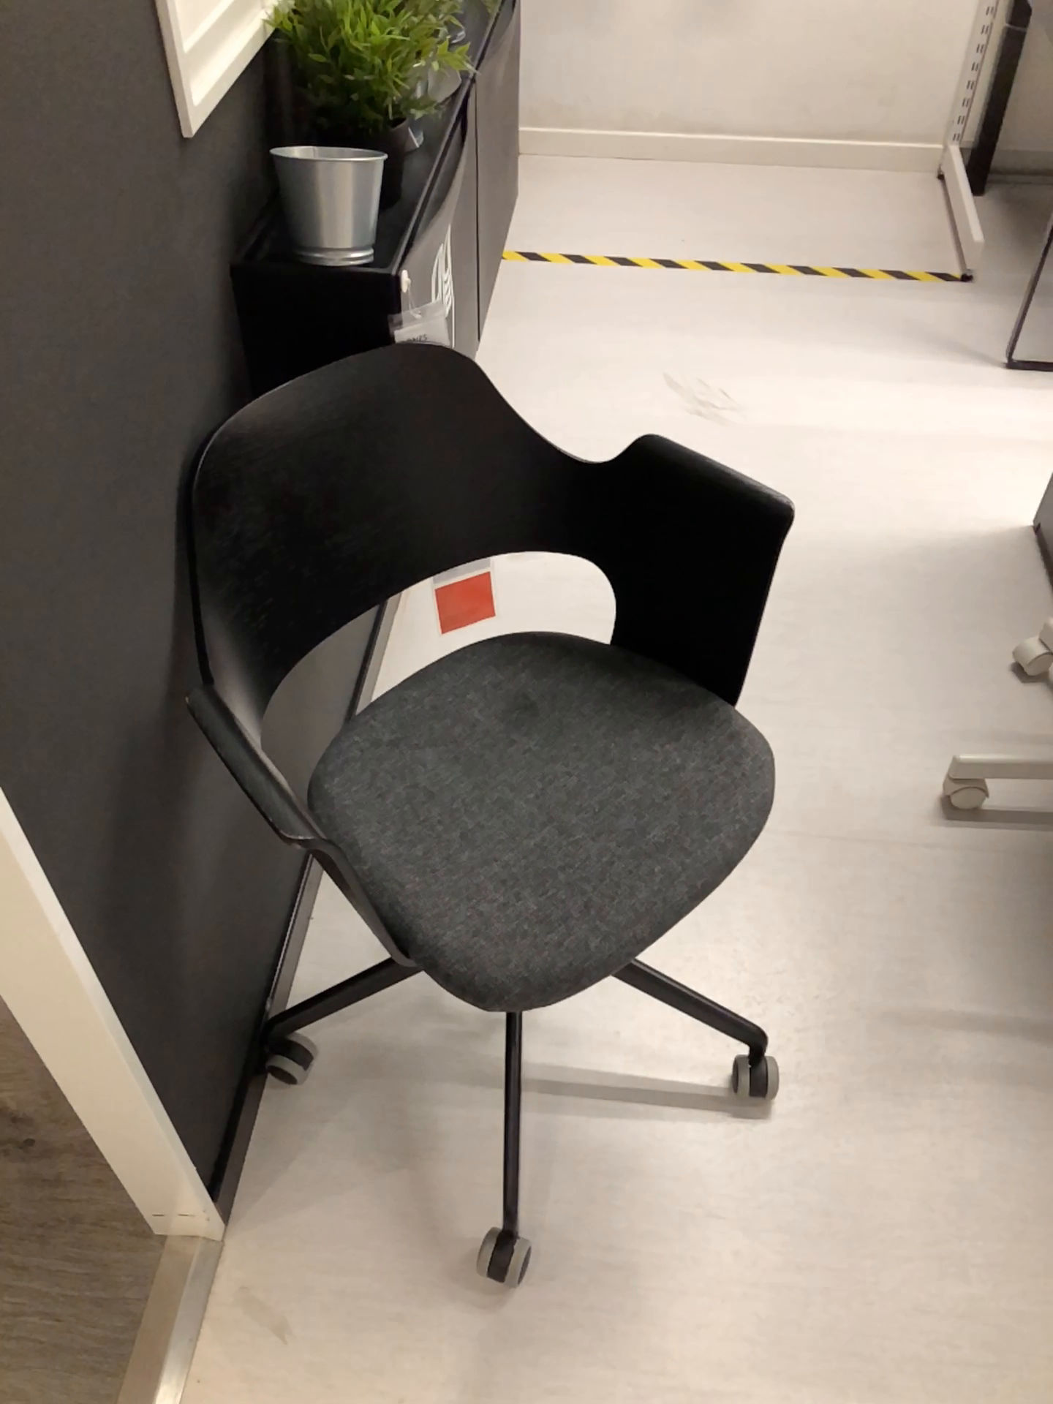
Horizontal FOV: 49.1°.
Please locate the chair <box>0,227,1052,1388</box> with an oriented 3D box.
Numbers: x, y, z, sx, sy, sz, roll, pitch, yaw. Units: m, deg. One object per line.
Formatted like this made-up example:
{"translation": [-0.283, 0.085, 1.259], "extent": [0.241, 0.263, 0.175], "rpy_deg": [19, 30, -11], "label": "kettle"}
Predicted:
{"translation": [0.023, 0.095, 1.131], "extent": [0.662, 0.755, 0.562], "rpy_deg": [-29, 53, -25], "label": "chair"}
